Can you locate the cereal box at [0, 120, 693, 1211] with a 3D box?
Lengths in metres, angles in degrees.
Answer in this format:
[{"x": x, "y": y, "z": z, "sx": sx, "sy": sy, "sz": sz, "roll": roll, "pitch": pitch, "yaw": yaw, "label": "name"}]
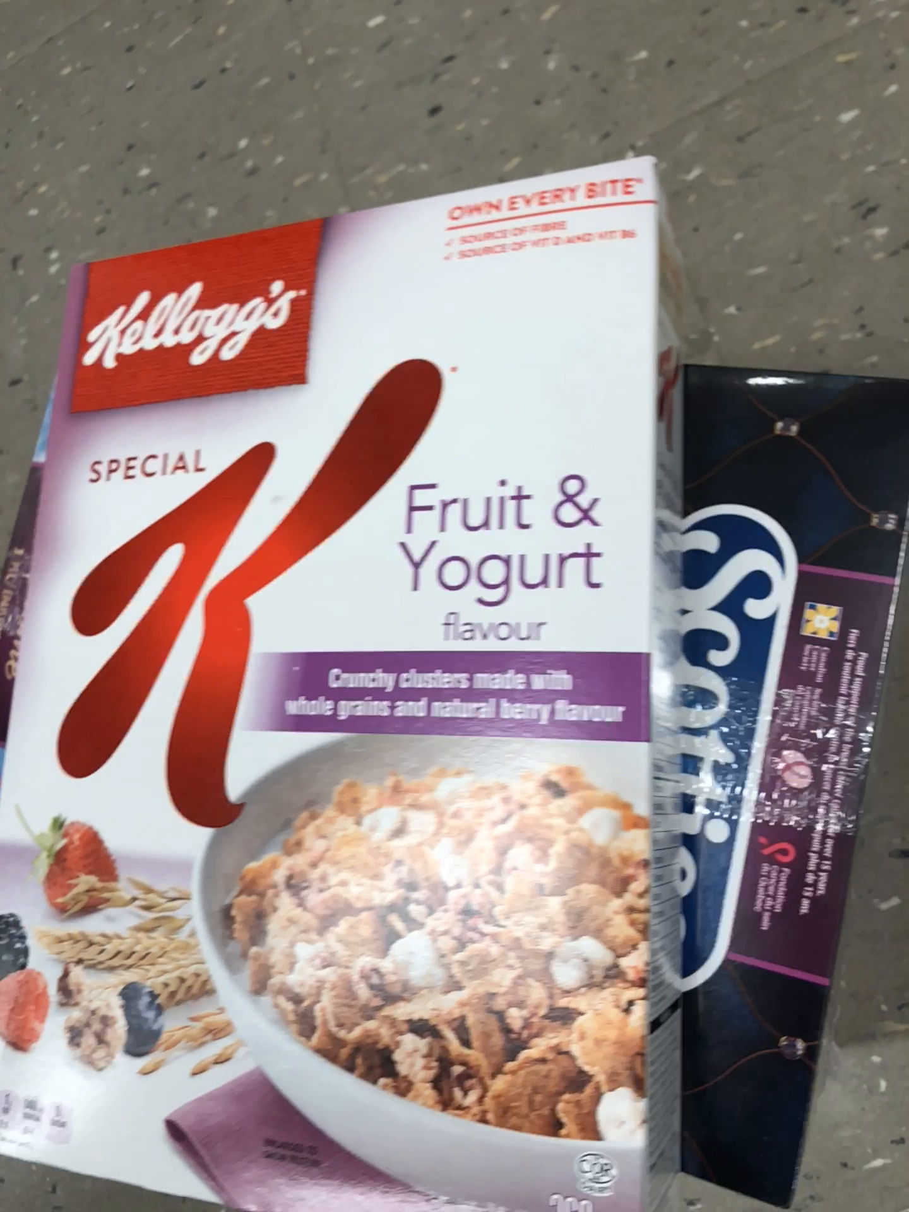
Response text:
[{"x": -0.043, "y": 0.018, "z": 0.296, "sx": 0.210, "sy": 0.050, "sz": 0.280, "roll": -2, "pitch": 76, "yaw": 22, "label": "cereal box"}]
